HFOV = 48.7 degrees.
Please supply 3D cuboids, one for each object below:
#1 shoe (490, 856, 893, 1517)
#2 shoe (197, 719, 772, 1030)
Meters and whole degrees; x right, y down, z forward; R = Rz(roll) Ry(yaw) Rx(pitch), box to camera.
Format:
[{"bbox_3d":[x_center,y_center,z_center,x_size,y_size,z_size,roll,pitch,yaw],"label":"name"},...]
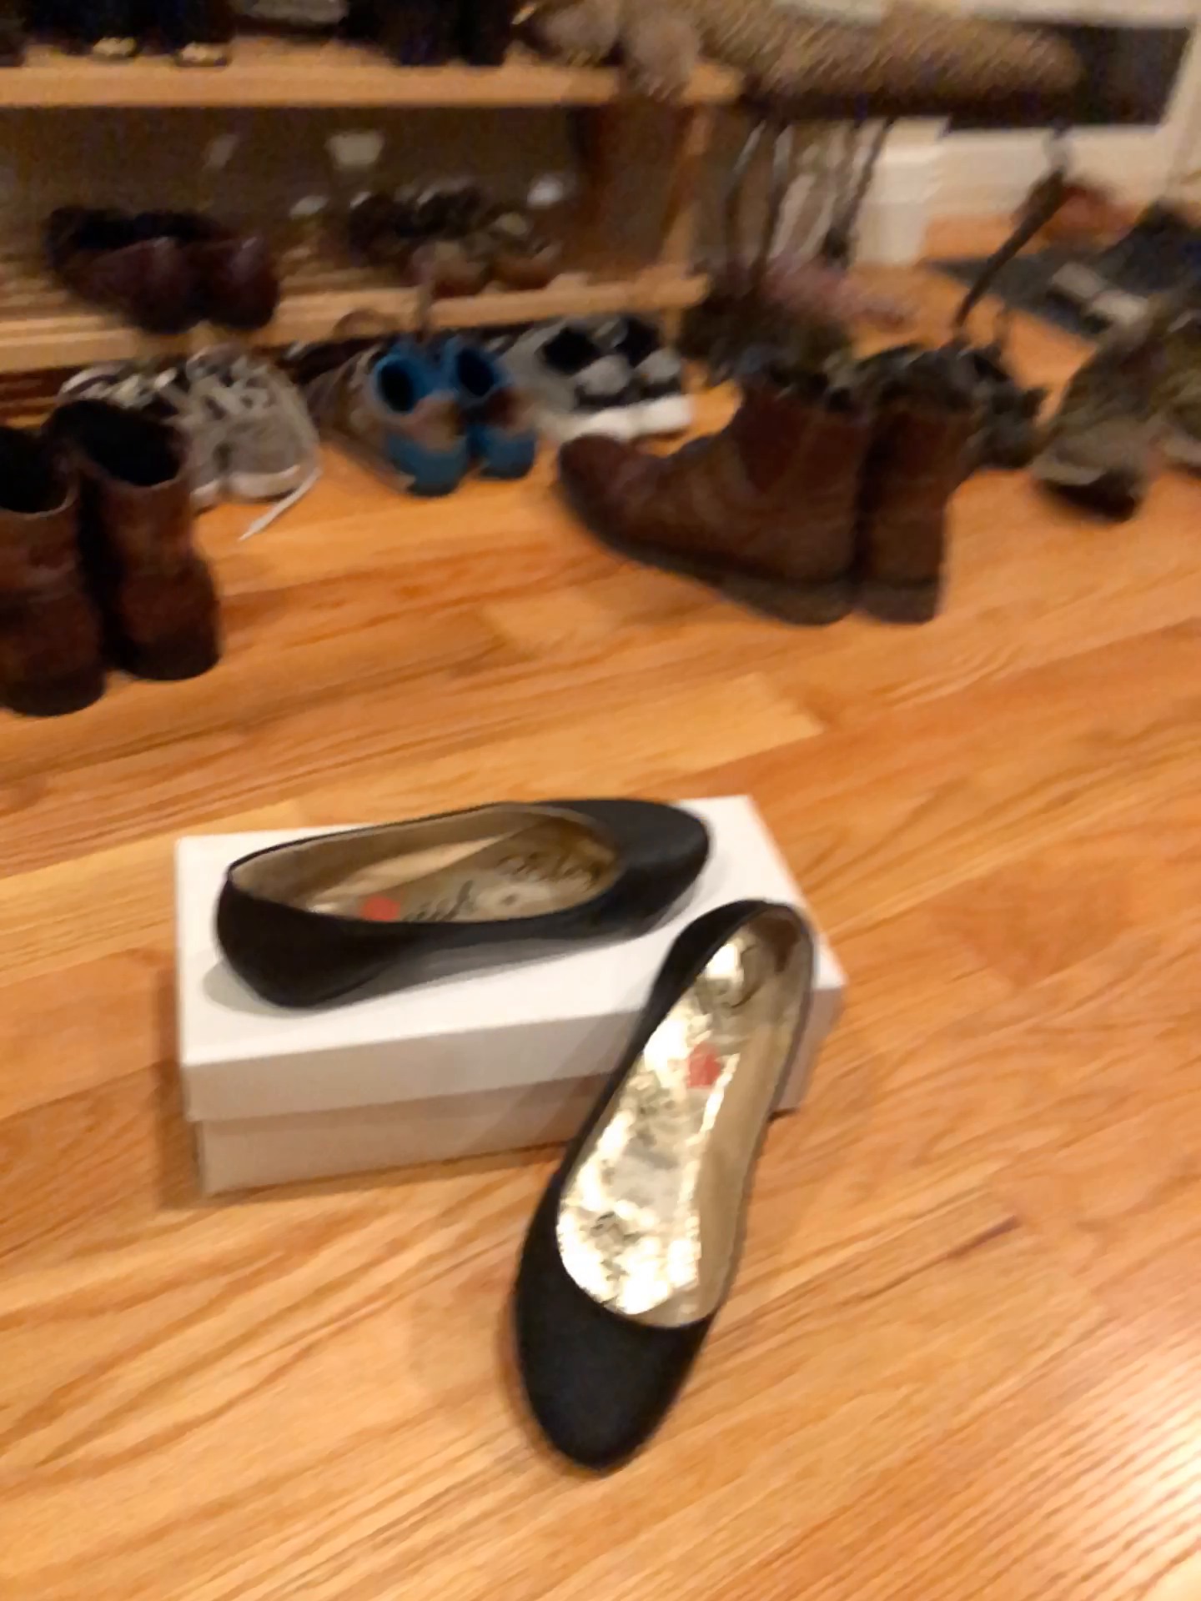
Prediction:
[{"bbox_3d":[0.039,0.151,0.552,0.076,0.060,0.240,24,75,-4],"label":"shoe"},{"bbox_3d":[-0.049,0.027,0.597,0.240,0.060,0.076,-11,42,-23],"label":"shoe"}]
